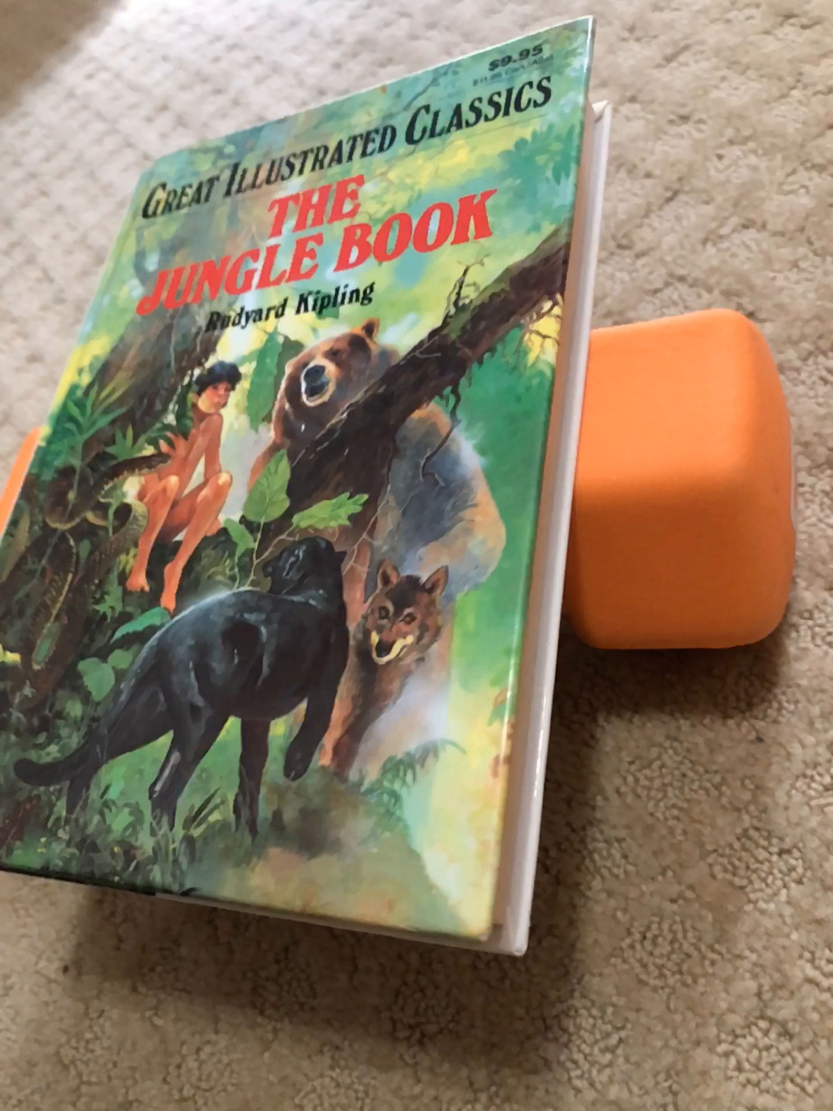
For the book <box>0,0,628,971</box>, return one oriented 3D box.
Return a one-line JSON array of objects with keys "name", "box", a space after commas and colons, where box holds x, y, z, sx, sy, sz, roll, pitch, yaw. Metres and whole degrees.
[{"name": "book", "box": [-0.031, -0.029, 0.215, 0.140, 0.029, 0.208, -3, 63, 27]}]
